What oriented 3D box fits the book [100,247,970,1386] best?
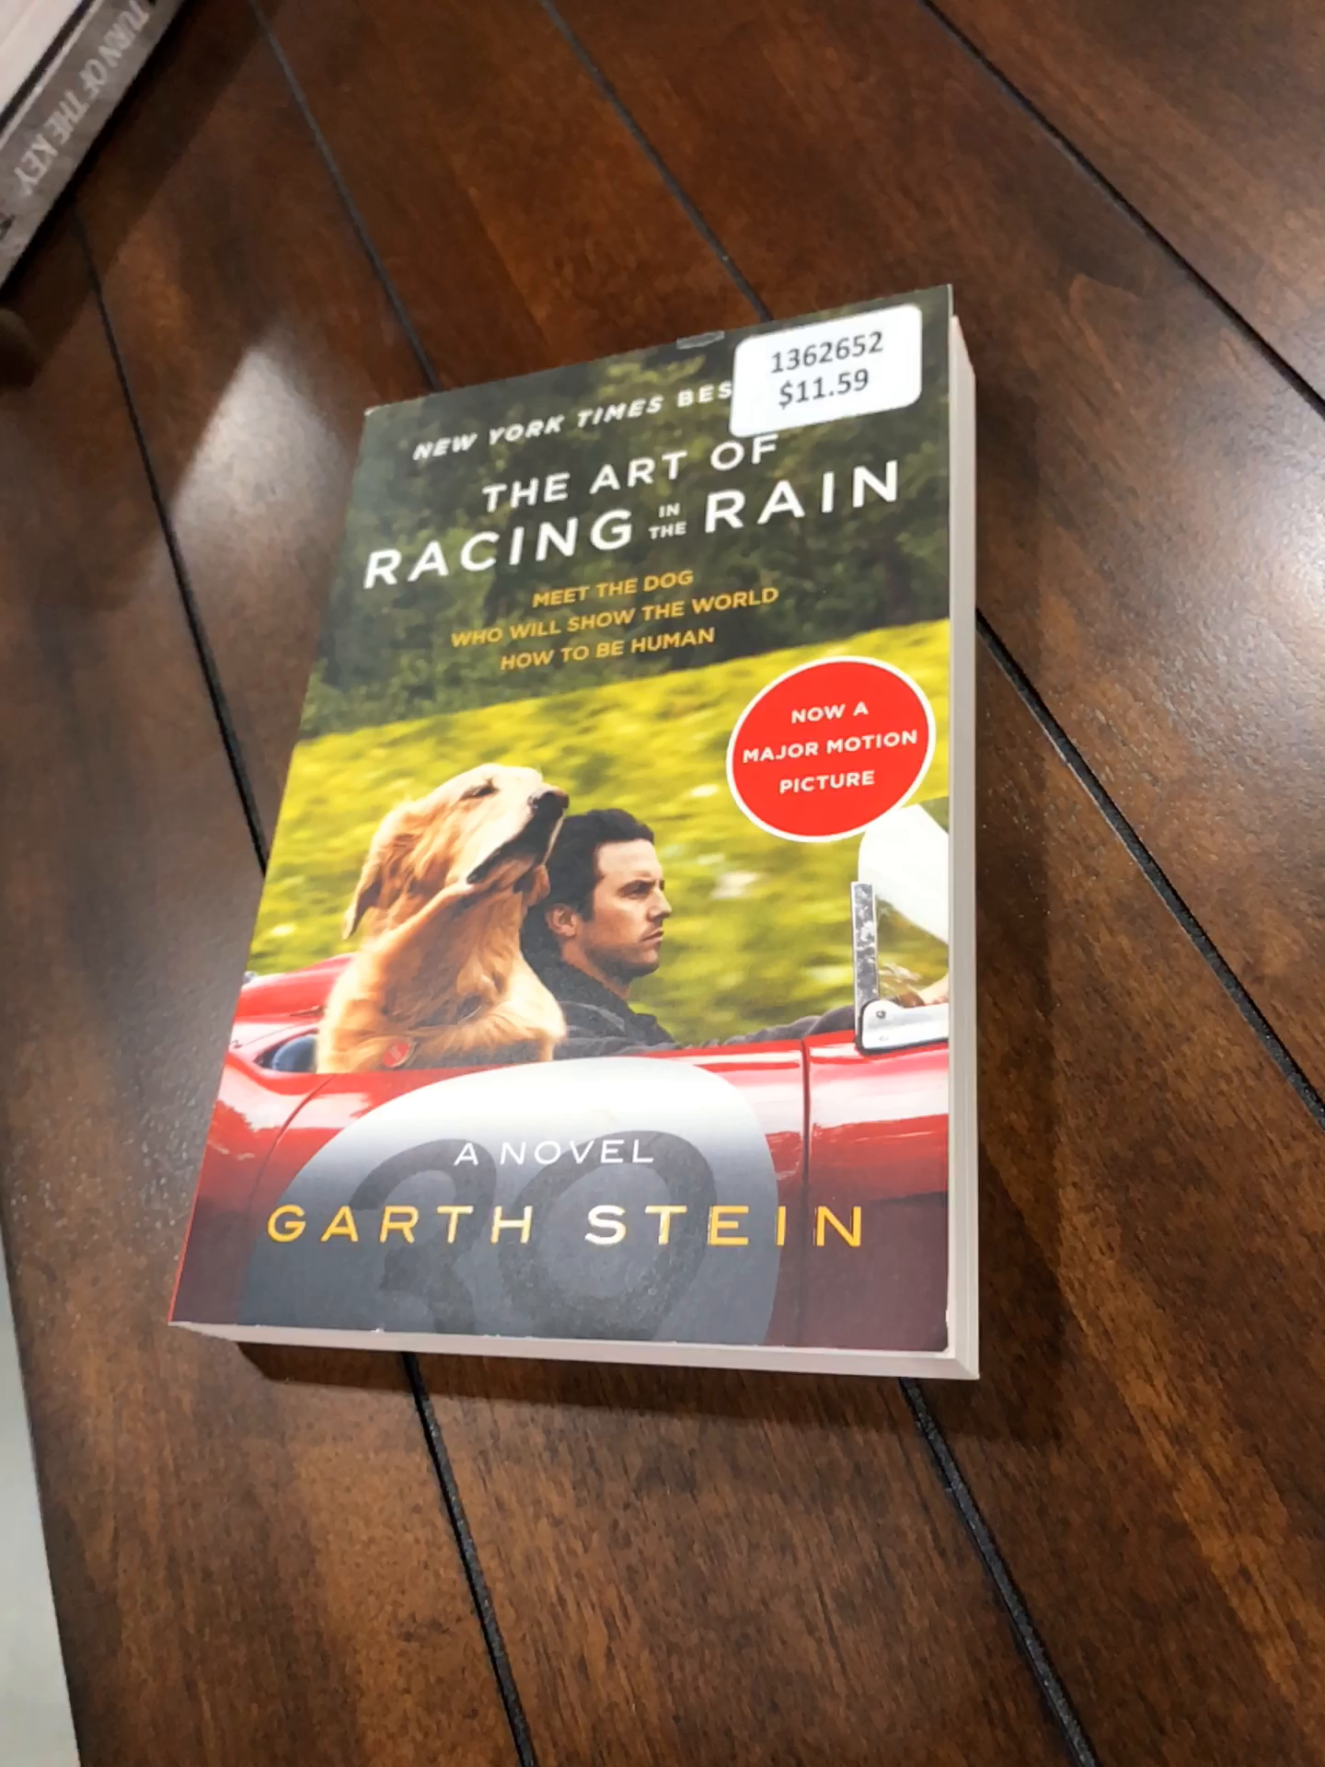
[{"bbox_3d":[-0.015,-0.019,0.282,0.140,0.028,0.210,-5,62,20],"label":"book"}]
